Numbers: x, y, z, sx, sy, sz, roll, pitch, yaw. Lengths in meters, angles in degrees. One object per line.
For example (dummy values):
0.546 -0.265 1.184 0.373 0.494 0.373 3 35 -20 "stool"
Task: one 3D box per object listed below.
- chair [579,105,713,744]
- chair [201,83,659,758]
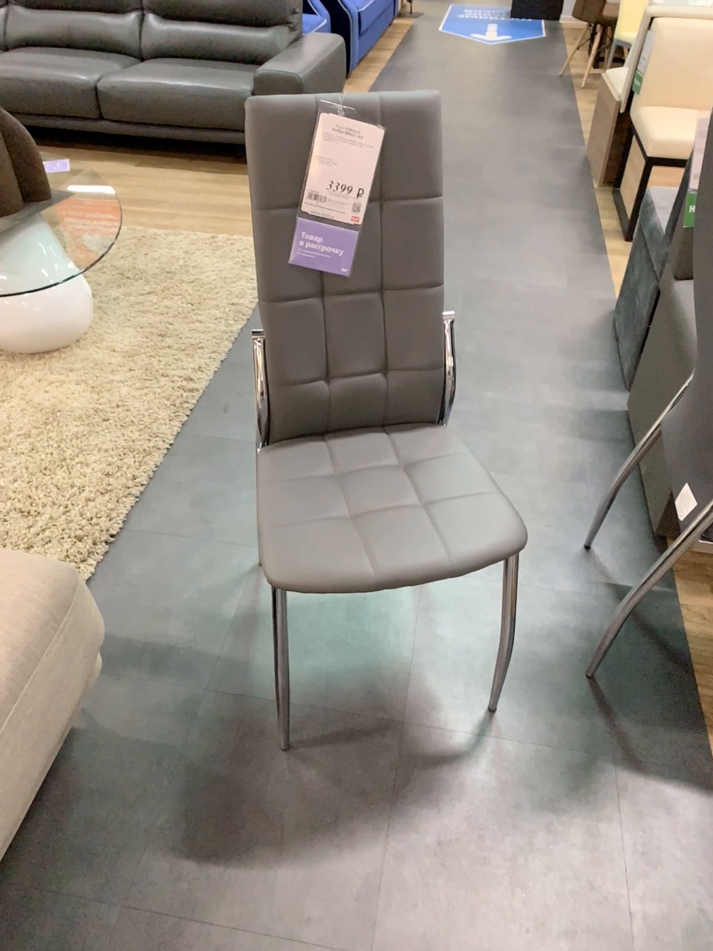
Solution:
0.801 -0.043 1.338 0.550 1.024 0.452 9 41 9 "chair"
0.036 -0.055 1.288 0.470 1.024 0.533 -7 41 -10 "chair"
